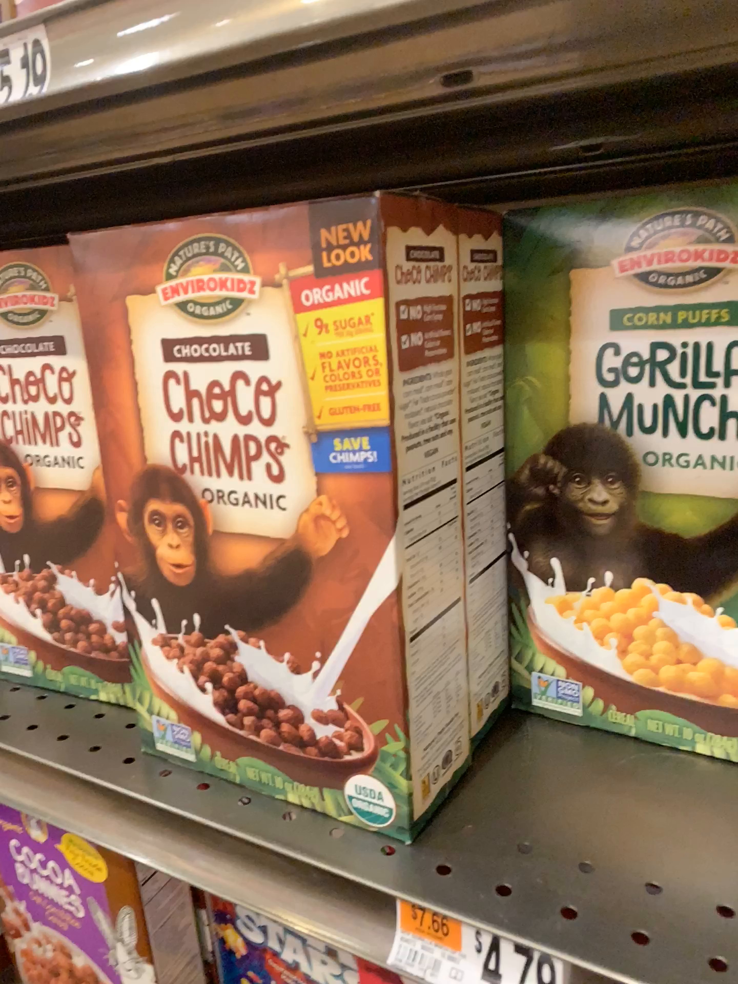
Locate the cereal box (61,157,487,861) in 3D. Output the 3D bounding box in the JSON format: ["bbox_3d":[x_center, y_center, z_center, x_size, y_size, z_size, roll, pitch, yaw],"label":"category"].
[{"bbox_3d":[-0.039,0.007,0.346,0.170,0.269,0.060,5,16,30],"label":"cereal box"}]
